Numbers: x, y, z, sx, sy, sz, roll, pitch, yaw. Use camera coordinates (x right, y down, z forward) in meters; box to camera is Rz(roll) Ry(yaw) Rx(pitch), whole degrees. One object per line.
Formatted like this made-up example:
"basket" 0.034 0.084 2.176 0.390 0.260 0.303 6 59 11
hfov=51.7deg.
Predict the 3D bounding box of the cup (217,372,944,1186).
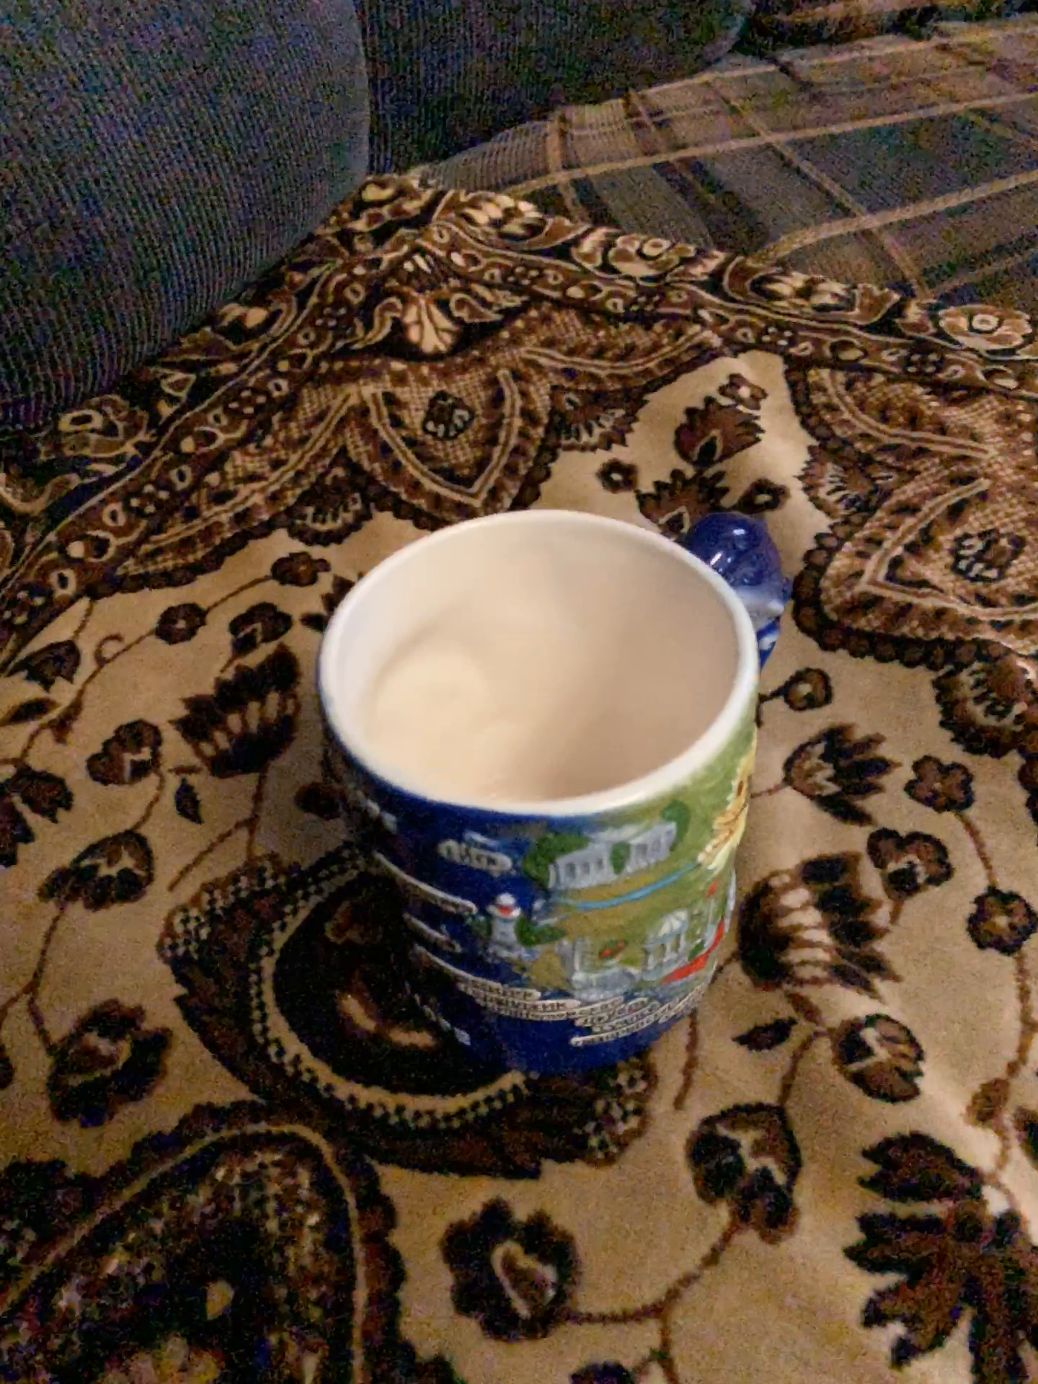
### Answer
"cup" 0.021 0.015 0.253 0.084 0.105 0.137 27 54 25
